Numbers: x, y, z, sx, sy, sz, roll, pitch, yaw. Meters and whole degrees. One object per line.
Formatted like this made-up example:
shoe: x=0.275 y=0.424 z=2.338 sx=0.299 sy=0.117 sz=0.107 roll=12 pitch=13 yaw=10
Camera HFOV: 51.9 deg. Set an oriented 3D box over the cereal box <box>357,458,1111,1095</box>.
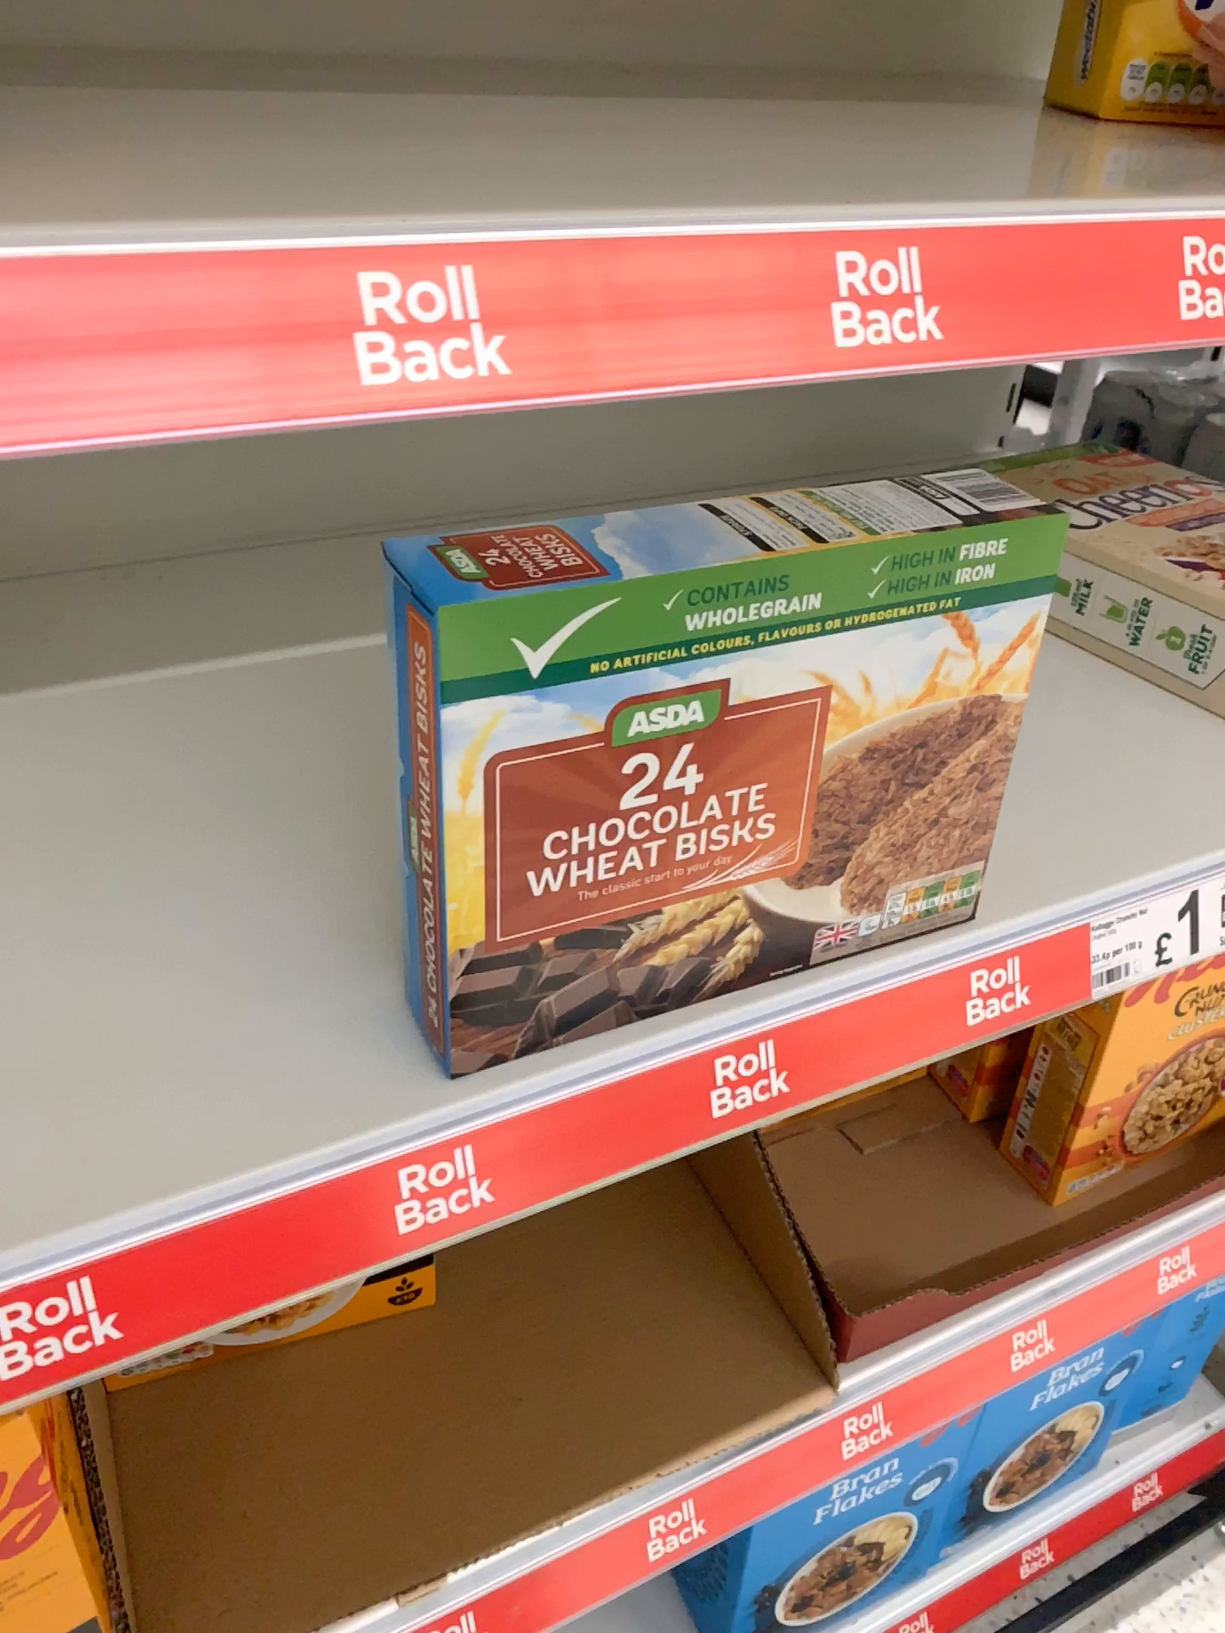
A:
cereal box: x=0.043 y=-0.022 z=0.465 sx=0.251 sy=0.178 sz=0.070 roll=-13 pitch=37 yaw=-24
